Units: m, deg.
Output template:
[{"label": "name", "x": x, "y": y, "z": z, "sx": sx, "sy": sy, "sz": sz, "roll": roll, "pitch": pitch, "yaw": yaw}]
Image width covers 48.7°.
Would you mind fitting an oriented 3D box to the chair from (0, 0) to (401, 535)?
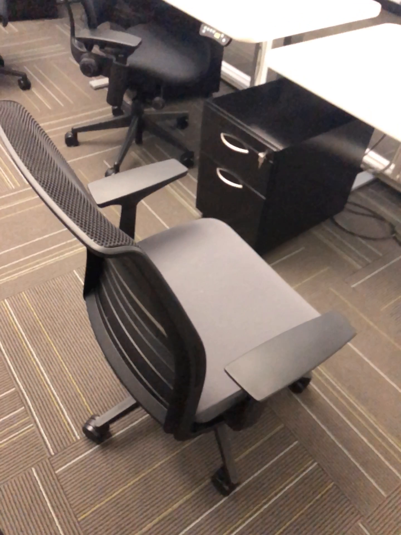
[{"label": "chair", "x": -0.016, "y": 0.010, "z": 1.068, "sx": 0.681, "sy": 0.906, "sz": 0.722, "roll": -26, "pitch": 54, "yaw": -27}]
